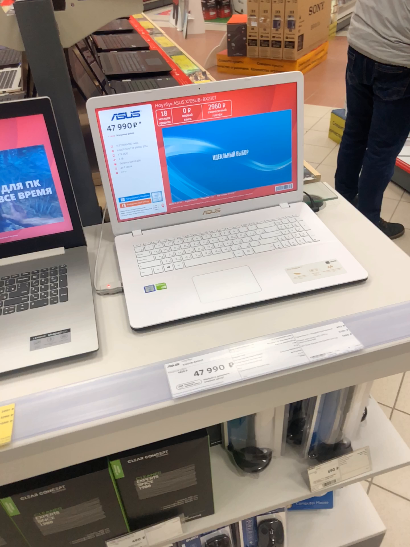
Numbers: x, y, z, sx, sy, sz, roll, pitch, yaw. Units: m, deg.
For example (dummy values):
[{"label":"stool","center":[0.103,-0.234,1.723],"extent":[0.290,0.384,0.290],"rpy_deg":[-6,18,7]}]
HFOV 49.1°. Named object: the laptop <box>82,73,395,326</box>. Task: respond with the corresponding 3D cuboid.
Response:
[{"label":"laptop","center":[0.030,-0.145,0.751],"extent":[0.386,0.235,0.302],"rpy_deg":[-12,39,-11]}]
